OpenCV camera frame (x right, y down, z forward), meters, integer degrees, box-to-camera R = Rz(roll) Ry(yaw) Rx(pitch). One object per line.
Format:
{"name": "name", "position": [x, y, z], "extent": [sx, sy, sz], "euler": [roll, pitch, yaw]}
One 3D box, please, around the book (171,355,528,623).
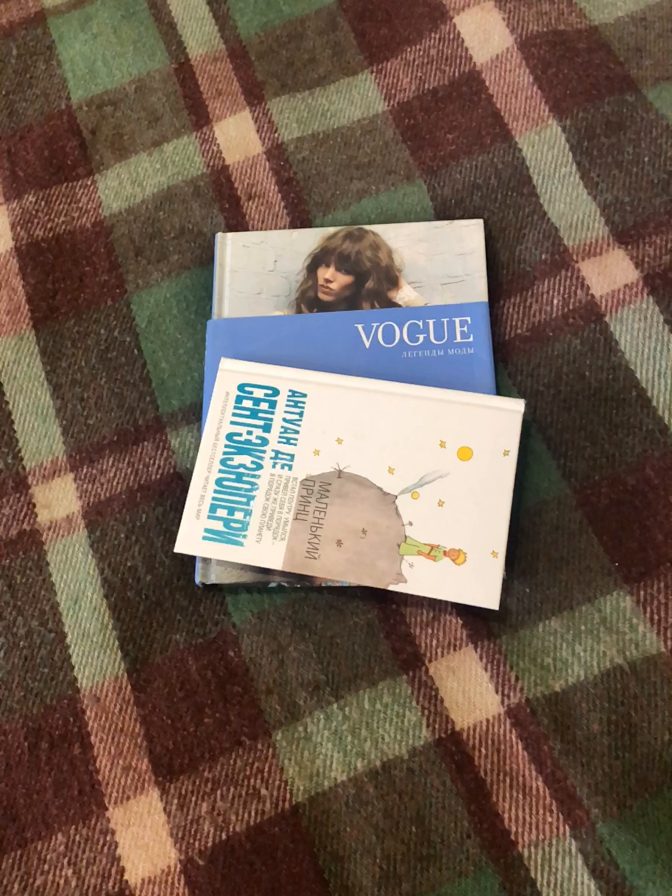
{"name": "book", "position": [0.009, 0.018, 0.398], "extent": [0.170, 0.014, 0.119], "euler": [8, 72, 8]}

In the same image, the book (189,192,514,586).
{"name": "book", "position": [0.007, -0.041, 0.447], "extent": [0.174, 0.024, 0.240], "euler": [-2, 71, 4]}
